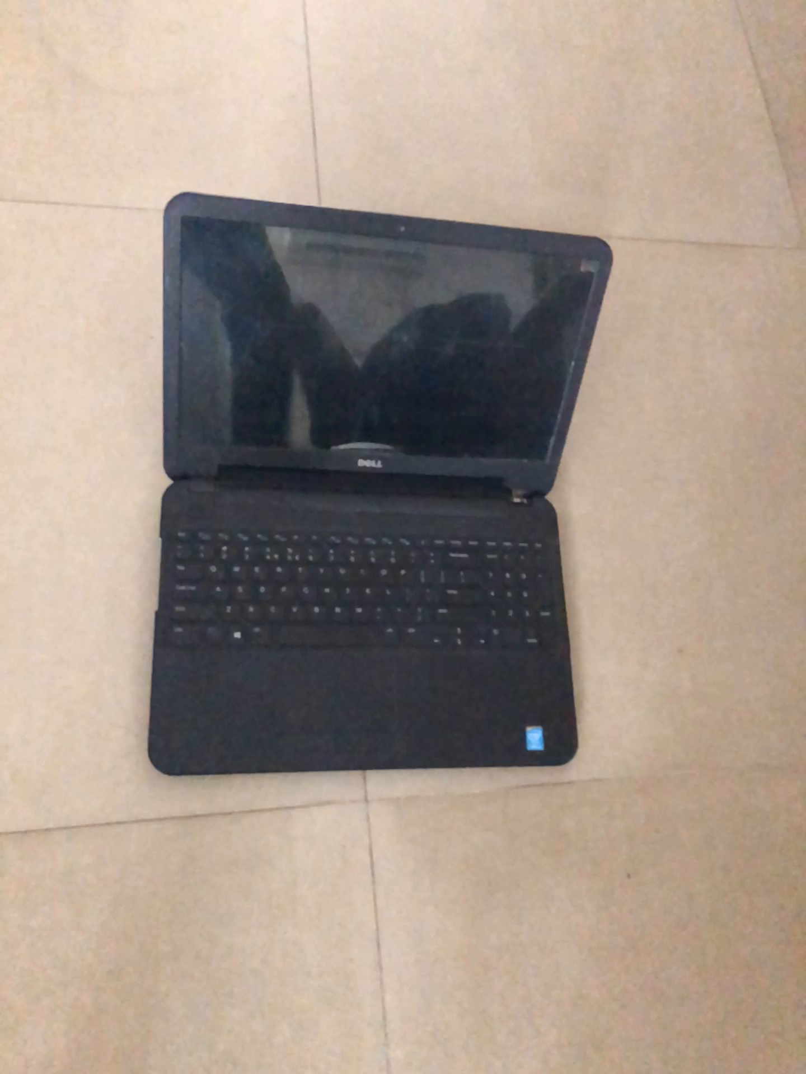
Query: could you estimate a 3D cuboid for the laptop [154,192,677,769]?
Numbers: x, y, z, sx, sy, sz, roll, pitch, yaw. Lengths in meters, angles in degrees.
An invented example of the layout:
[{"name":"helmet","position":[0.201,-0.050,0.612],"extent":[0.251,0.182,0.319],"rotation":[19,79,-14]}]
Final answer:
[{"name":"laptop","position":[-0.008,-0.034,0.717],"extent":[0.343,0.179,0.405],"rotation":[1,70,-11]}]
